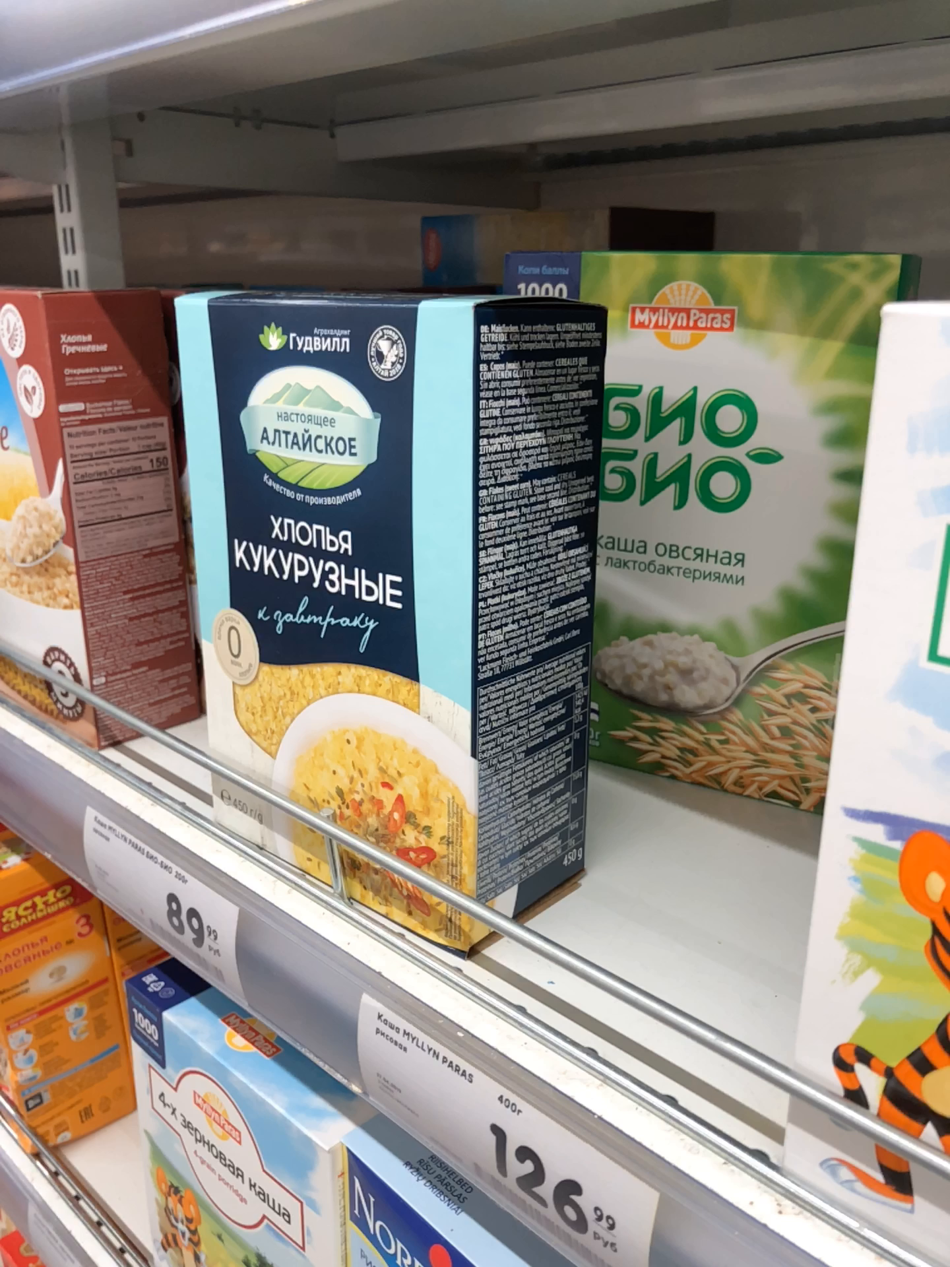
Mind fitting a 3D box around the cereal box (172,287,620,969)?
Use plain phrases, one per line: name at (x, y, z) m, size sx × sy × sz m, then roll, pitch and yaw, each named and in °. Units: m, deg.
cereal box at (-0.028, -0.013, 0.343) m, size 0.130 × 0.189 × 0.060 m, roll 16°, pitch 23°, yaw 40°
